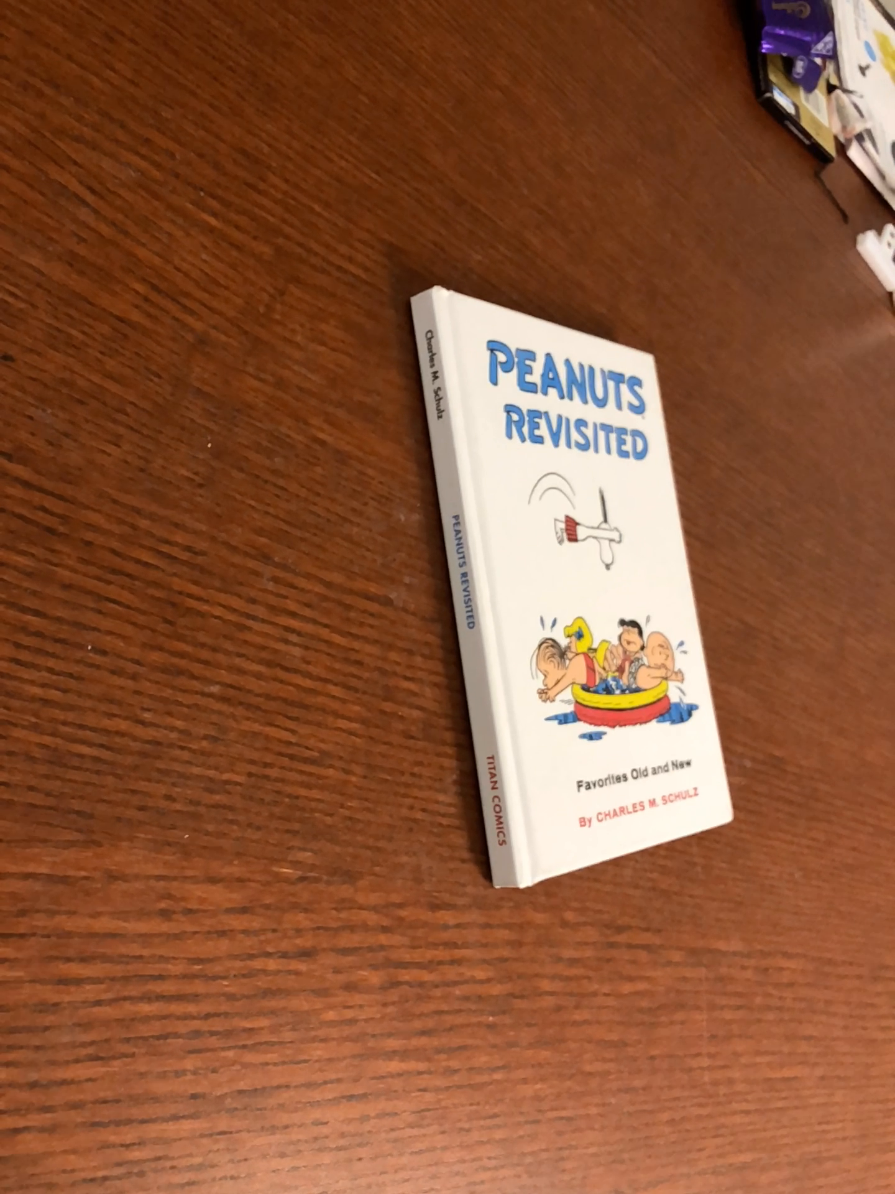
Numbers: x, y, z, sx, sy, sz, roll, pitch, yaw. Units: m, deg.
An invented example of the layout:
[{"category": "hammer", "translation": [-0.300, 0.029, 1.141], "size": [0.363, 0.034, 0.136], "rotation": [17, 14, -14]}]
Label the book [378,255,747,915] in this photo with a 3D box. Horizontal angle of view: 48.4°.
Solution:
[{"category": "book", "translation": [0.050, -0.007, 0.385], "size": [0.151, 0.020, 0.220], "rotation": [0, 78, -45]}]
